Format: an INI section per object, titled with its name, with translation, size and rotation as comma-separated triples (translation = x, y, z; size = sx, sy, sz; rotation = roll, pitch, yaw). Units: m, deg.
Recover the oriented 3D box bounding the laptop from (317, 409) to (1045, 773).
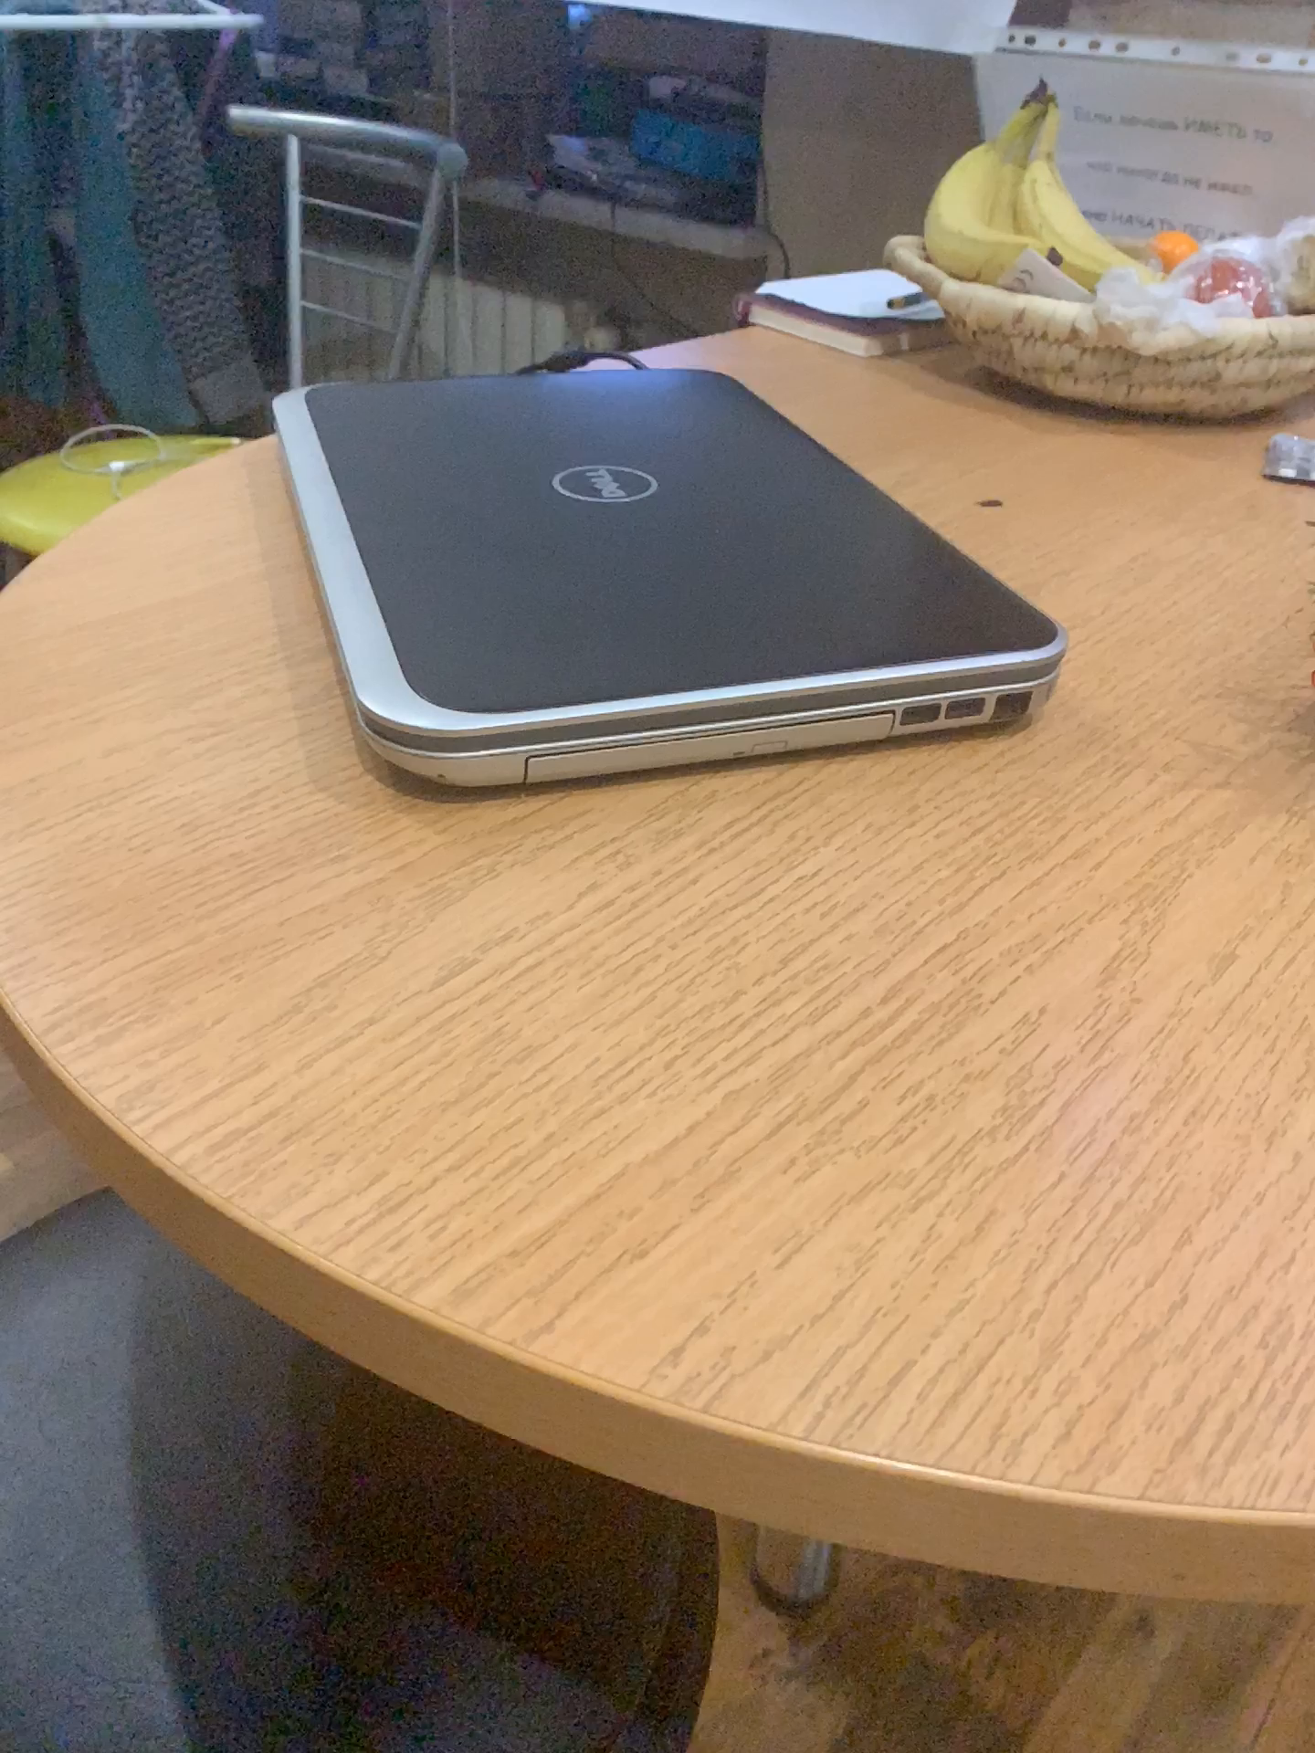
[laptop]
translation = -0.021, -0.144, 0.578
size = 0.224, 0.004, 0.351
rotation = -9, 34, -12
